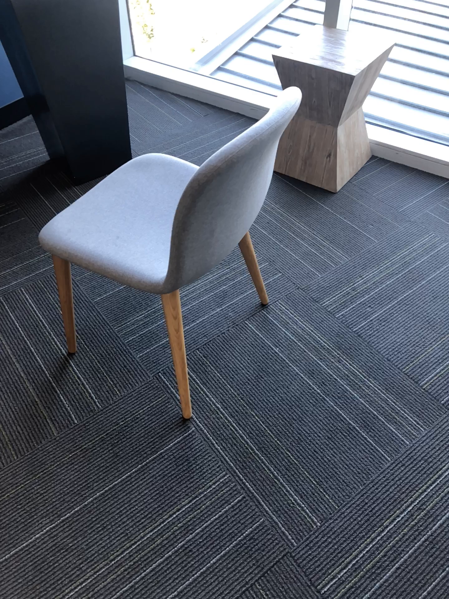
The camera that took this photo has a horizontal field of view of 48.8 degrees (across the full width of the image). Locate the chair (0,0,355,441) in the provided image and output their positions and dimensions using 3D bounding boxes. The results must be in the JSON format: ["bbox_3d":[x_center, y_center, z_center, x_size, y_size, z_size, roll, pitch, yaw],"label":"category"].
[{"bbox_3d":[-0.157,-0.212,1.260,0.611,0.846,0.562,26,51,19],"label":"chair"}]
